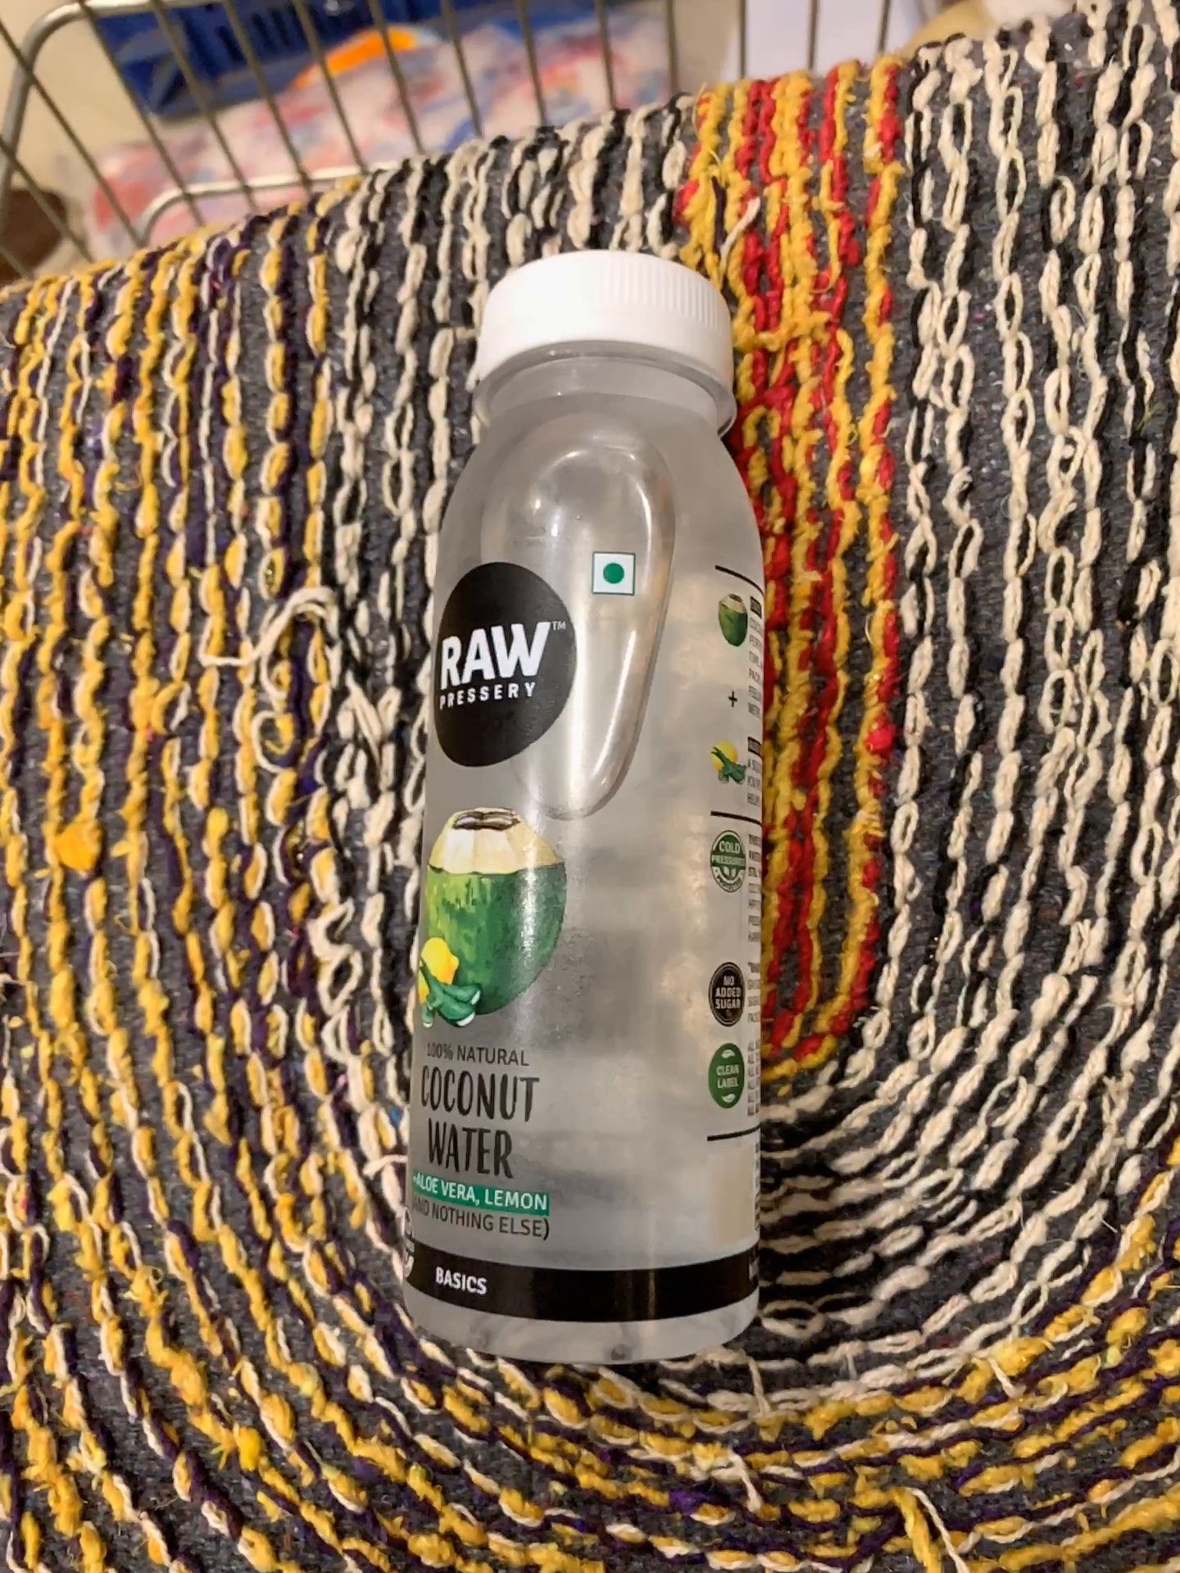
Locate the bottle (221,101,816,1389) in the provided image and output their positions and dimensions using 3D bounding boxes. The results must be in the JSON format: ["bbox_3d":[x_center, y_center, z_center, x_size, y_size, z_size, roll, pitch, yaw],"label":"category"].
[{"bbox_3d":[-0.006,-0.006,0.178,0.060,0.050,0.150,-3,79,31],"label":"bottle"}]
